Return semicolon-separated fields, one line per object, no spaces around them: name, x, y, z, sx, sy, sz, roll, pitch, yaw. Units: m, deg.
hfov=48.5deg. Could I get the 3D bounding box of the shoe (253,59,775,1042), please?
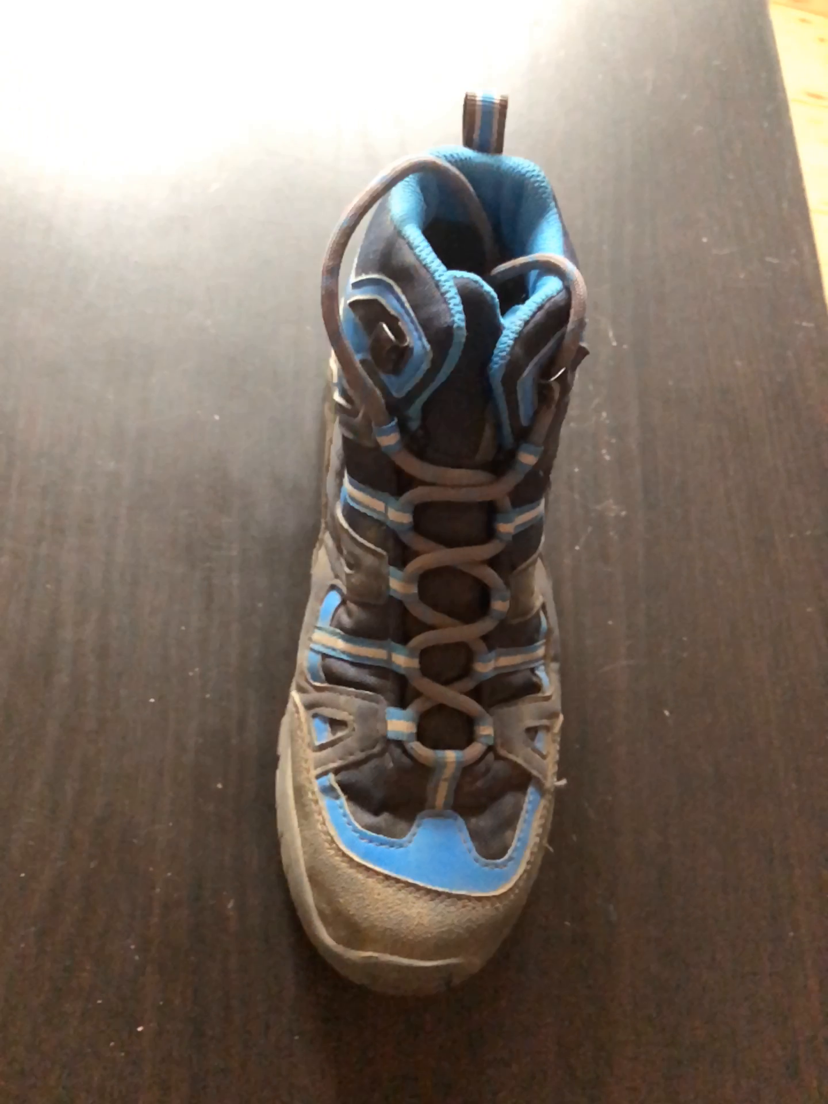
shoe;0.016;0.001;0.281;0.100;0.120;0.251;6;68;-11
